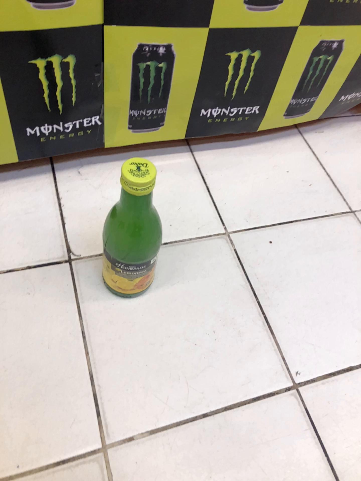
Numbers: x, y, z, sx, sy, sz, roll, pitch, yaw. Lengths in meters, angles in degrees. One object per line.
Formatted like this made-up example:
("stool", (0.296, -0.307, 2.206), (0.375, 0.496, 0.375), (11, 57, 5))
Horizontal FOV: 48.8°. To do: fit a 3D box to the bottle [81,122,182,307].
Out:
("bottle", (-0.053, -0.012, 0.370), (0.070, 0.179, 0.070), (6, 53, -8))
